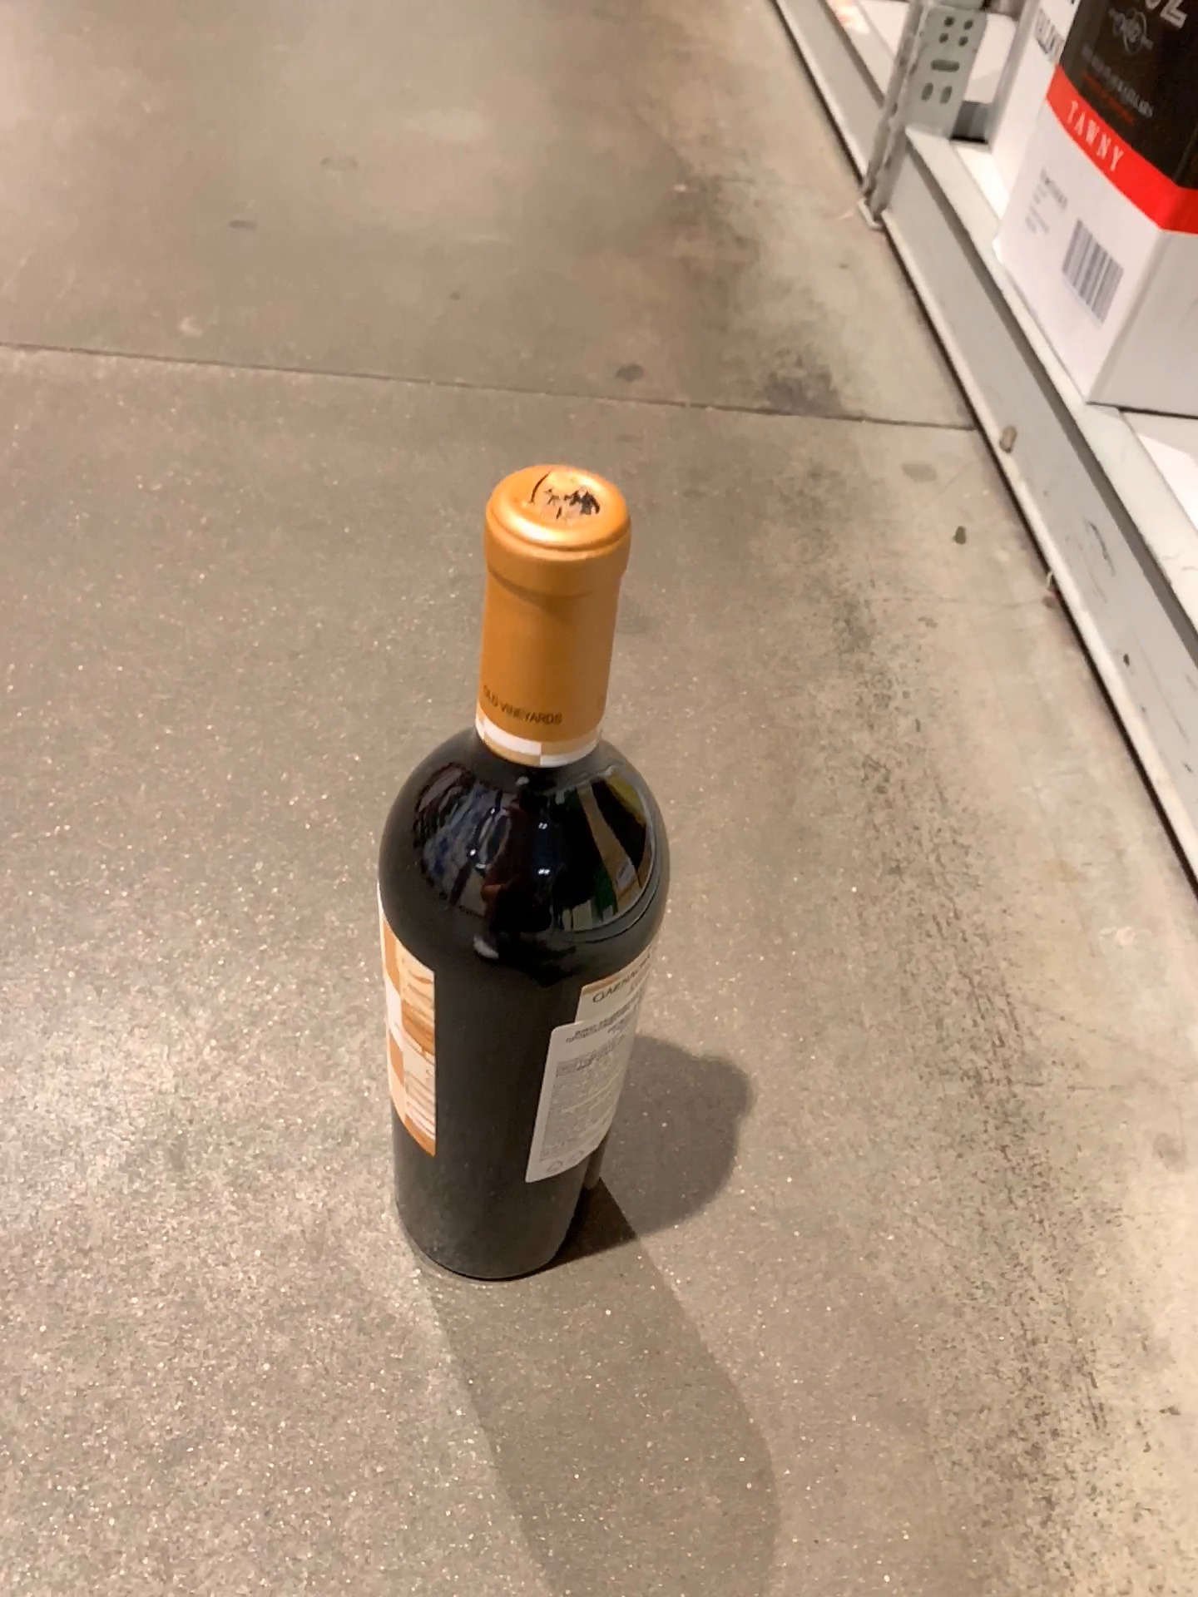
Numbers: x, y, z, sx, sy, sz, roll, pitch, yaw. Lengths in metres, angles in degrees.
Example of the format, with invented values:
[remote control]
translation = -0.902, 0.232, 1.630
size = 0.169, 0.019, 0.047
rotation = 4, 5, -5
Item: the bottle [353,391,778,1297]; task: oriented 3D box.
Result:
[bottle]
translation = -0.024, 0.046, 0.373
size = 0.080, 0.317, 0.080
rotation = 4, 46, -4
